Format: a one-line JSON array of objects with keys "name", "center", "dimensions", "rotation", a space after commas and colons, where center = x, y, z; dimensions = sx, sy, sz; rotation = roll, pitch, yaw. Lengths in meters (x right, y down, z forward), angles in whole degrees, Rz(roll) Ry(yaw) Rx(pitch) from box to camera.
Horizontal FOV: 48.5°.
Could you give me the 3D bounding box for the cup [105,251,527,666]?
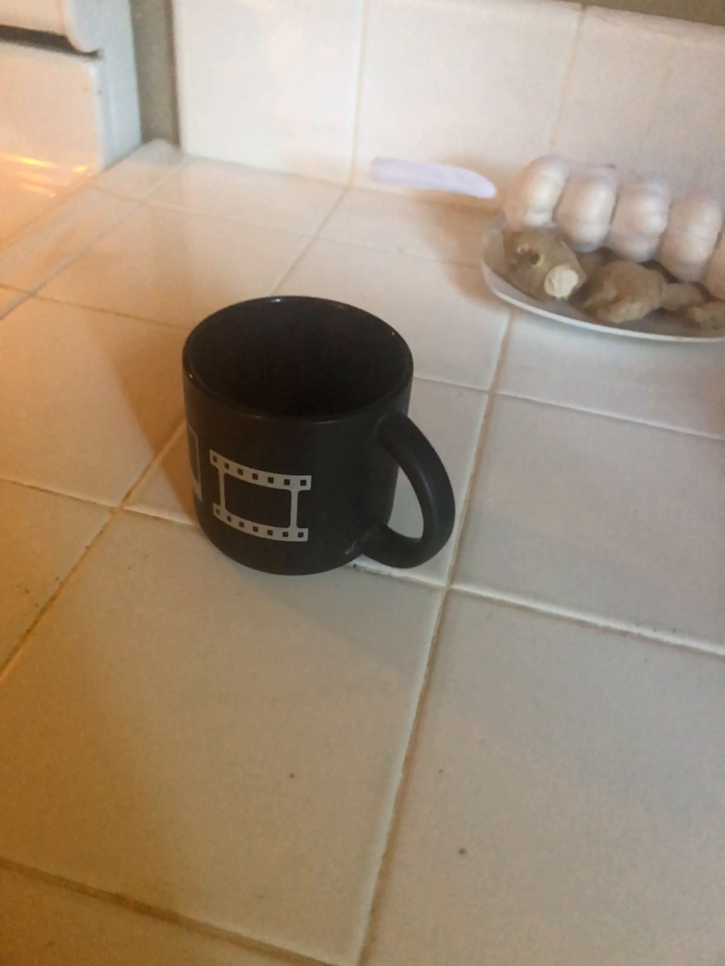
[{"name": "cup", "center": [-0.021, -0.017, 0.330], "dimensions": [0.130, 0.089, 0.091], "rotation": [31, 47, 25]}]
